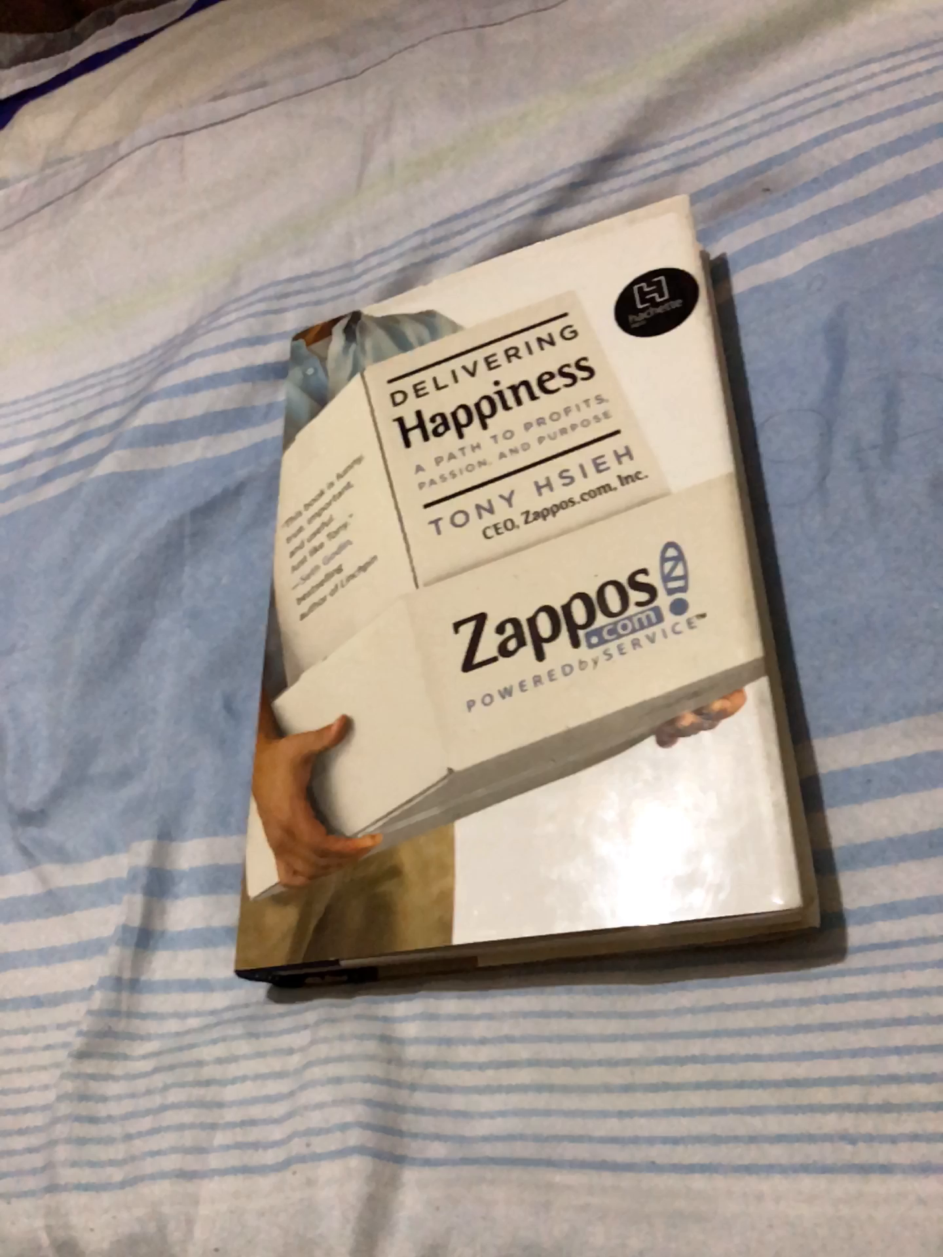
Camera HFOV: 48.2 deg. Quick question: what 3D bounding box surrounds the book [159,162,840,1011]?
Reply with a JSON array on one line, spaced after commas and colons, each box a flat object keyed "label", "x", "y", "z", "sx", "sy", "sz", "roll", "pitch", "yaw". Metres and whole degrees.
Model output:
[{"label": "book", "x": 0.003, "y": -0.016, "z": 0.331, "sx": 0.170, "sy": 0.050, "sz": 0.240, "roll": -13, "pitch": 58, "yaw": 22}]
